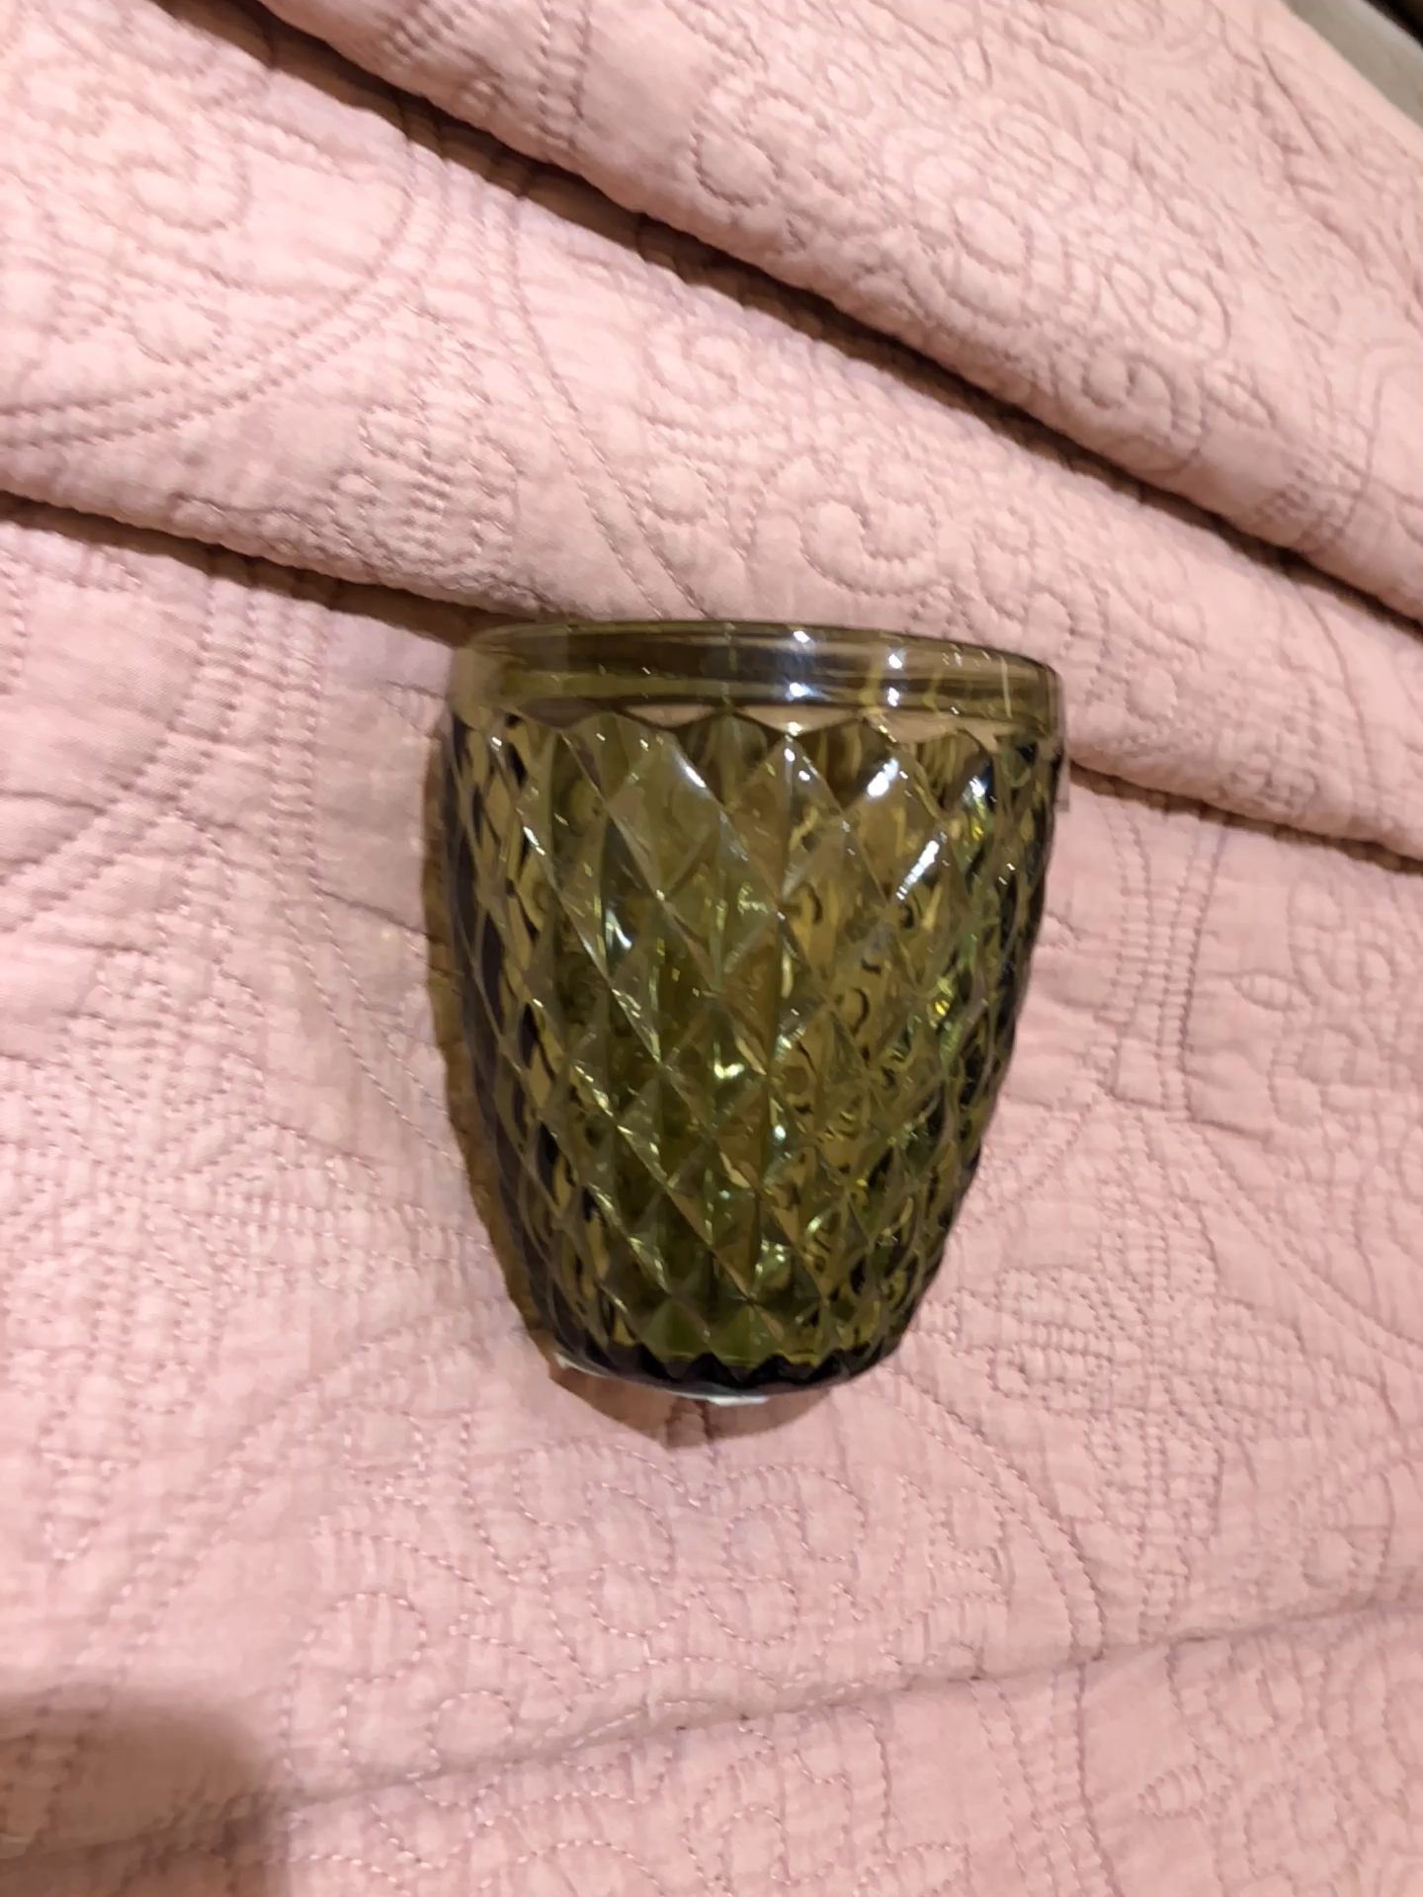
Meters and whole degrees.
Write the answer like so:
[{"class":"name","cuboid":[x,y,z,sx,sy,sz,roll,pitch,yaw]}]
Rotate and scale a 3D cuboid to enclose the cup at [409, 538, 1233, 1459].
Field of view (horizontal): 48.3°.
[{"class":"cup","cuboid":[0.013,0.003,0.222,0.080,0.070,0.100,2,96,-34]}]
